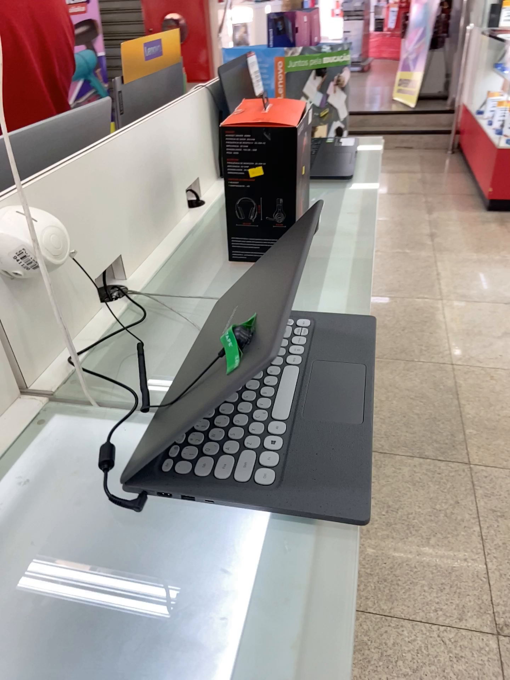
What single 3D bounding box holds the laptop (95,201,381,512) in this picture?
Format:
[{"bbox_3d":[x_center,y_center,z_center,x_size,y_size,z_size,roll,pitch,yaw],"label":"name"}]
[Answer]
[{"bbox_3d":[0.017,-0.015,0.540,0.207,0.153,0.313,4,33,12],"label":"laptop"}]
